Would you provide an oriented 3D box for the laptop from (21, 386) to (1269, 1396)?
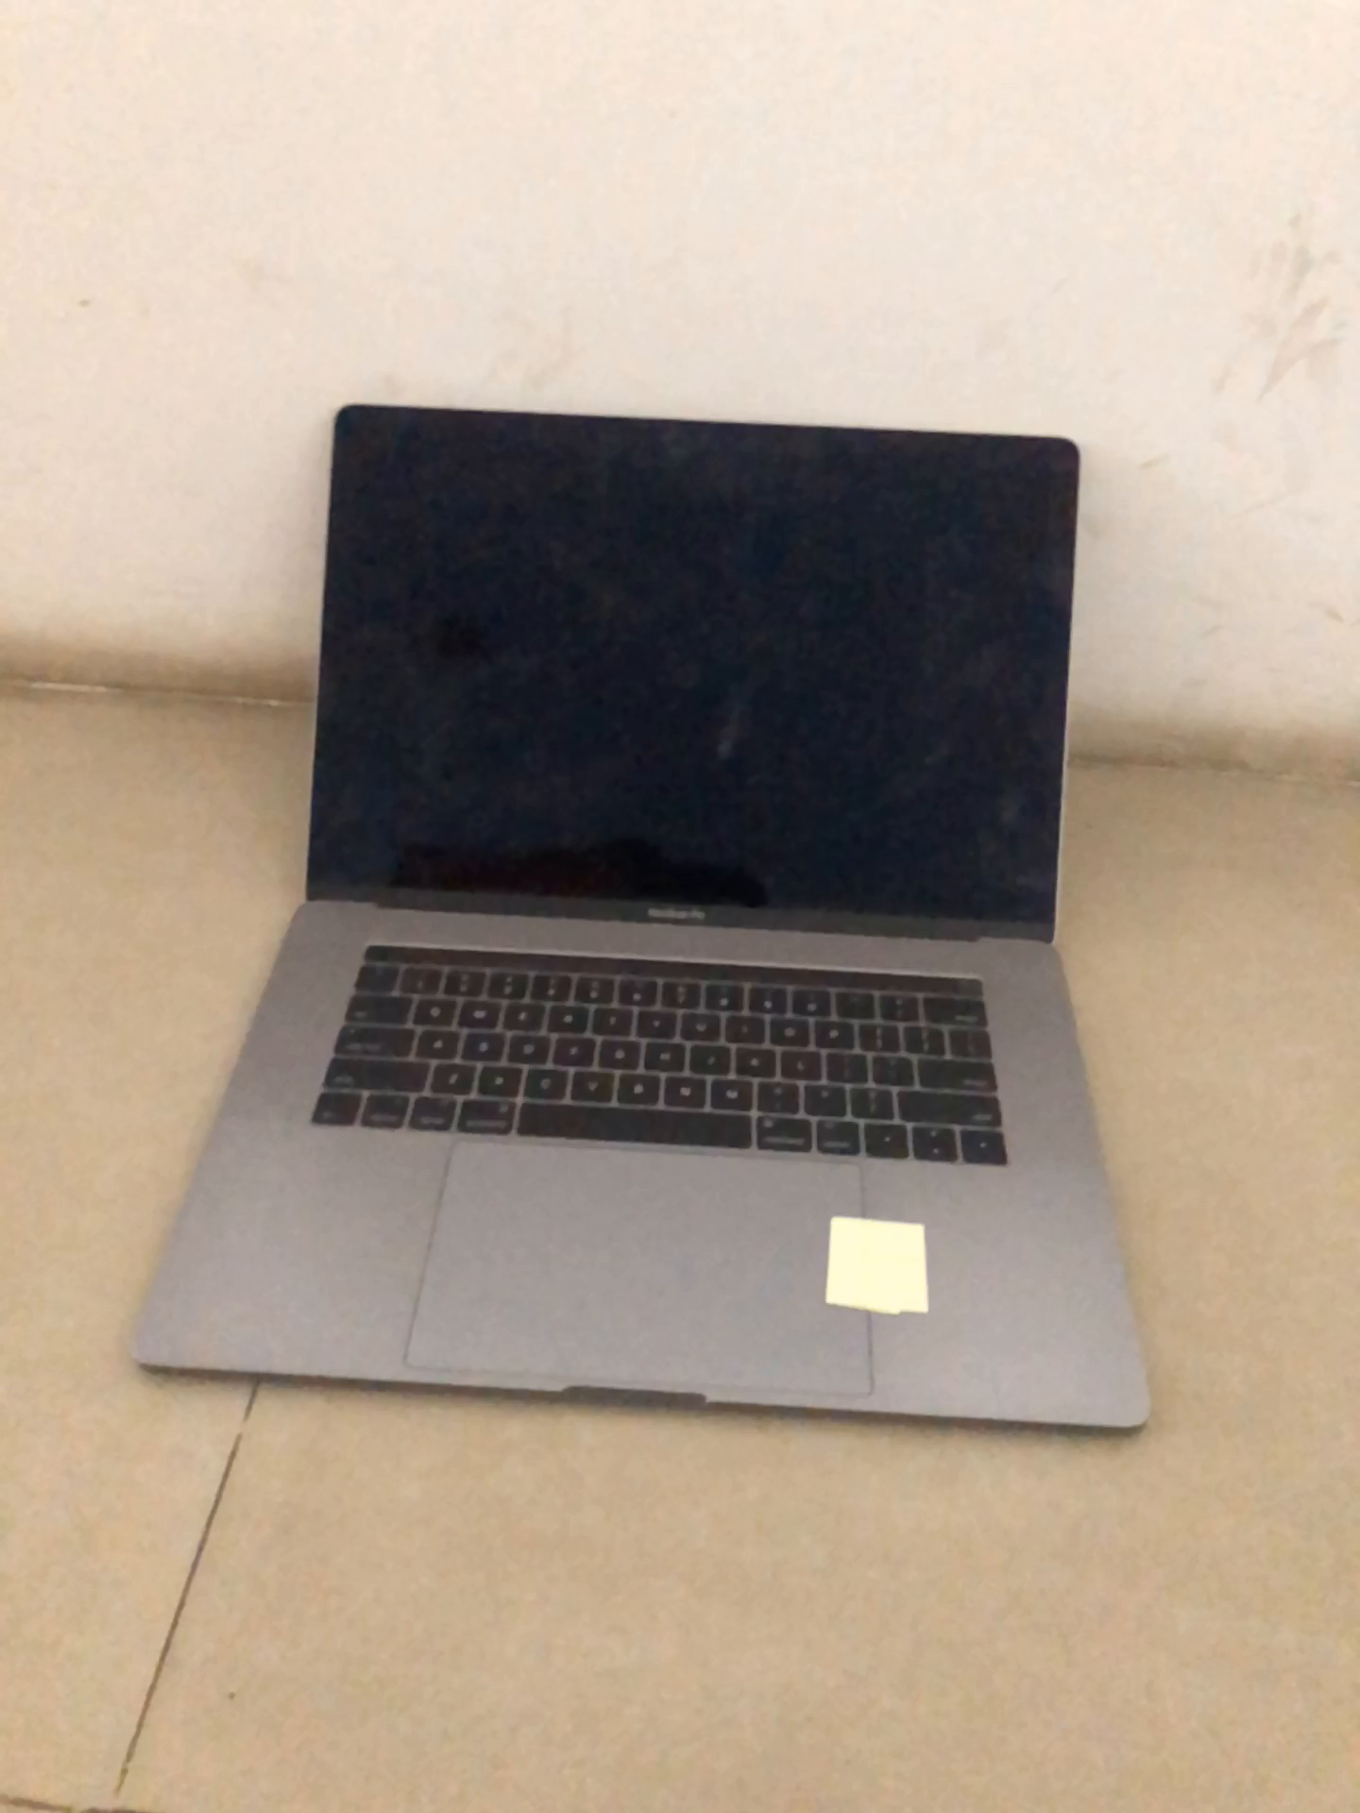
[{"bbox_3d":[-0.004,-0.037,0.589,0.329,0.162,0.382,3,42,1],"label":"laptop"}]
